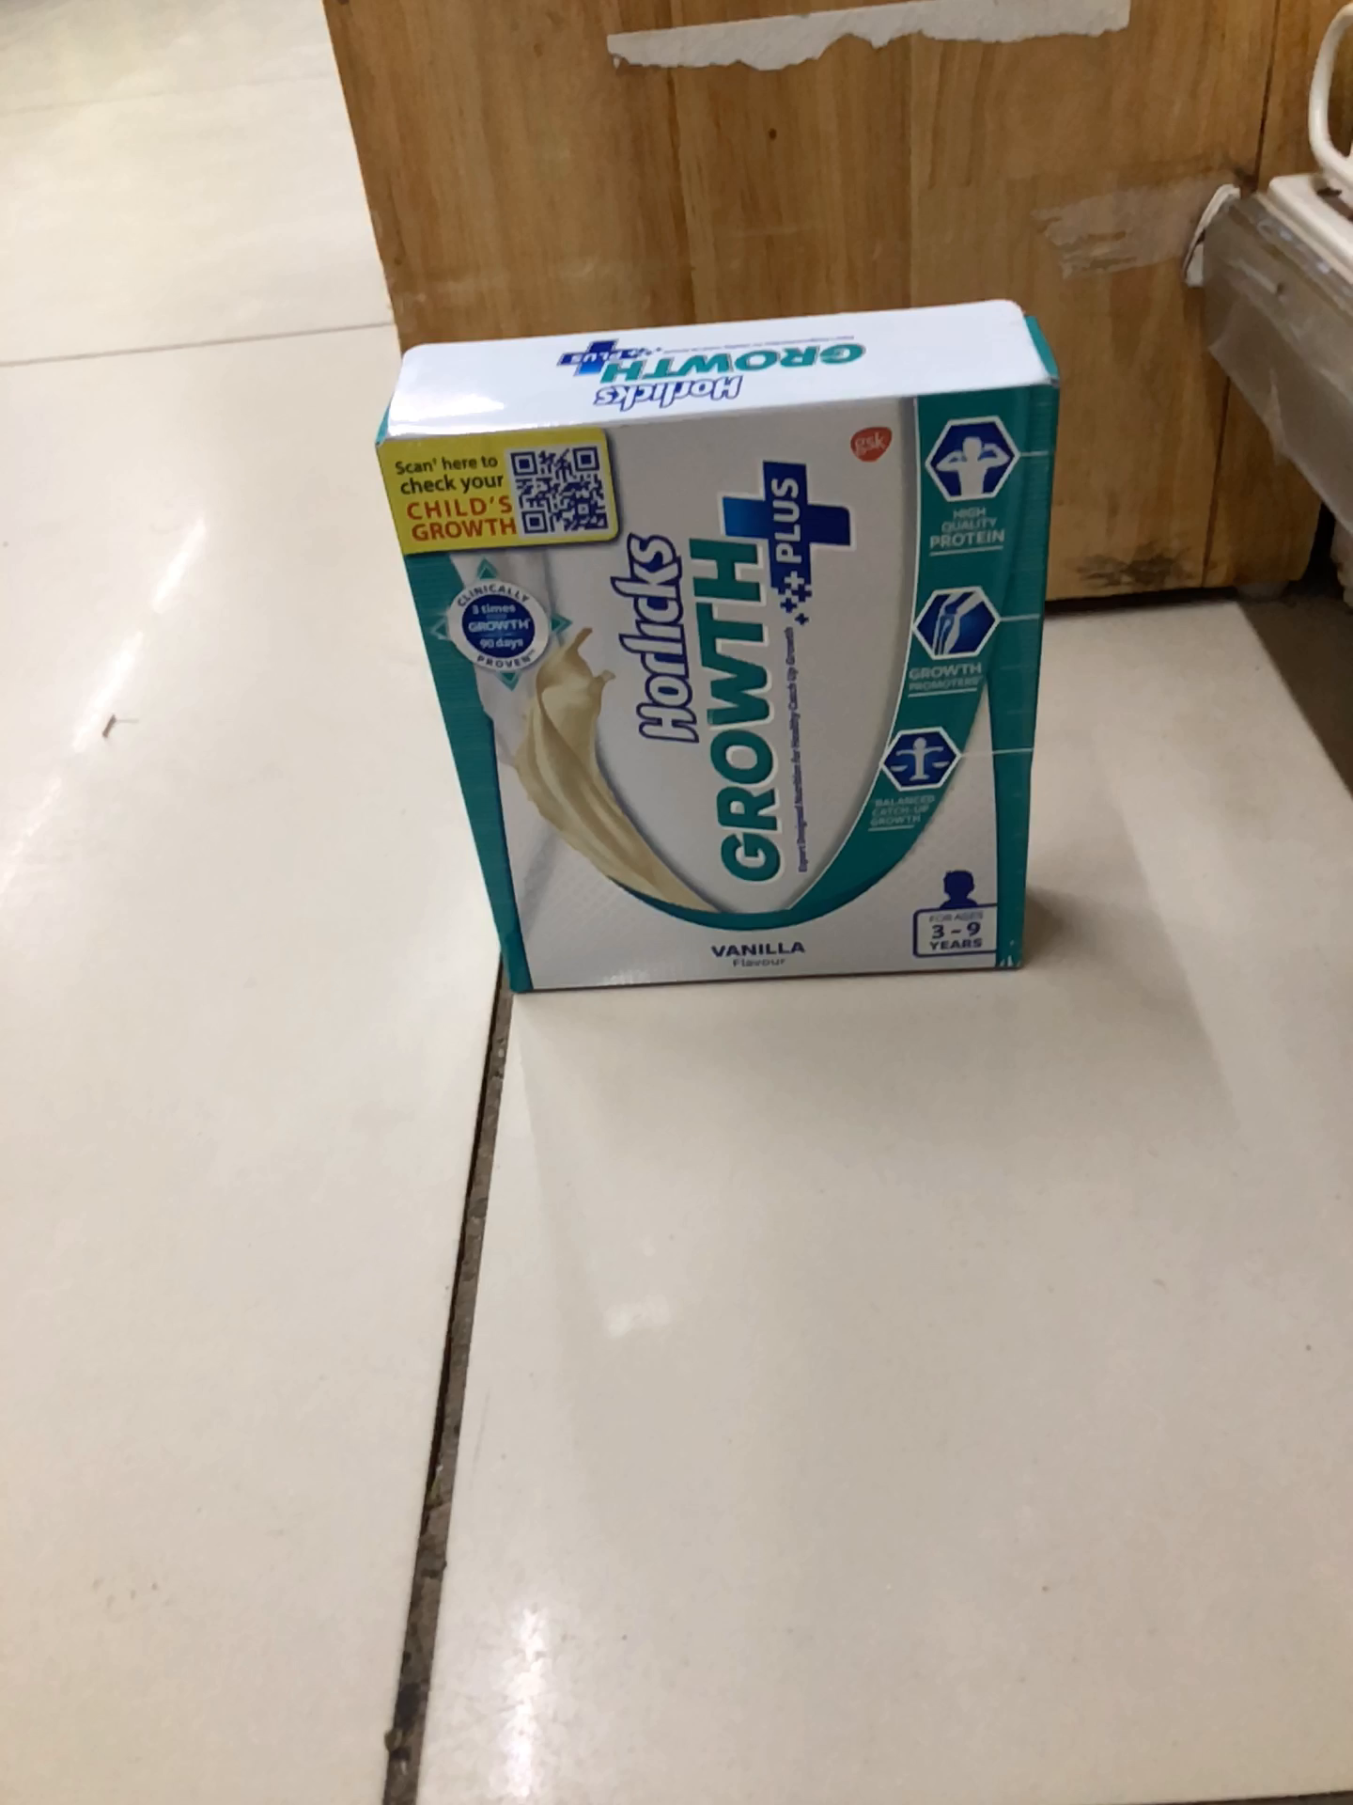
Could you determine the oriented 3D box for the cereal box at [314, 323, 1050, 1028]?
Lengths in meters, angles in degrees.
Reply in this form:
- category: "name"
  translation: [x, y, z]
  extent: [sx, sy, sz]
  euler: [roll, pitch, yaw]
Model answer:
- category: "cereal box"
  translation: [0.009, -0.048, 0.373]
  extent: [0.150, 0.159, 0.050]
  euler: [-4, 39, 5]
